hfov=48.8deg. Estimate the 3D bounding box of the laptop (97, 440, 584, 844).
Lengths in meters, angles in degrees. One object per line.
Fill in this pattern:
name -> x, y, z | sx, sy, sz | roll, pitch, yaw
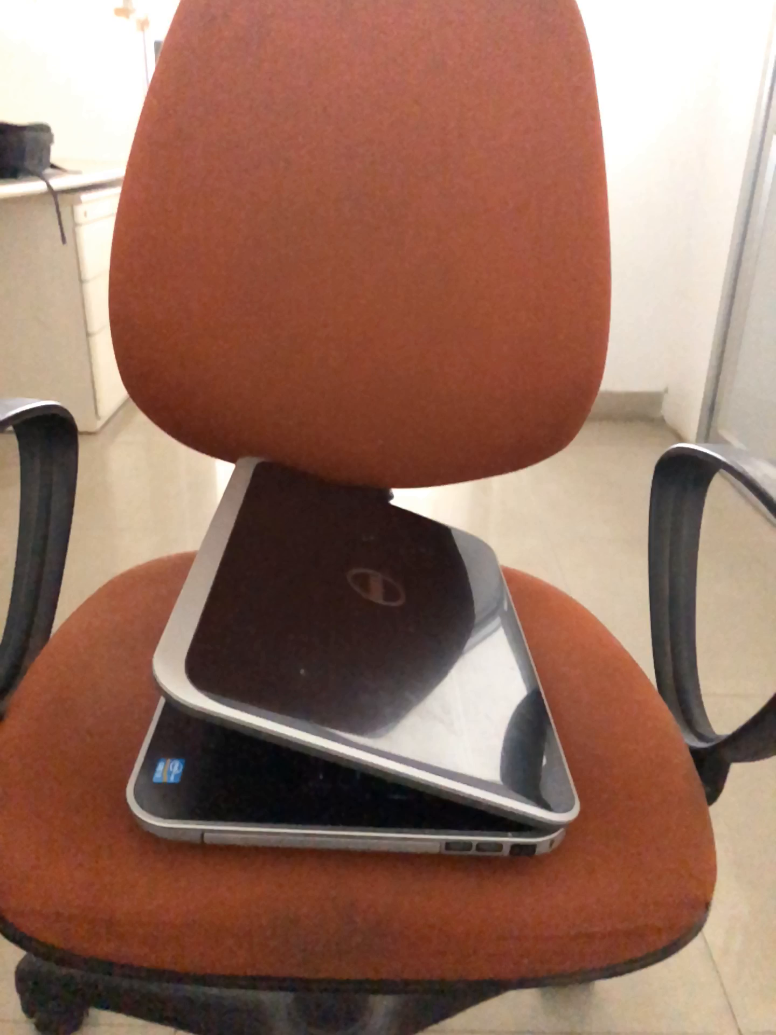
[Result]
laptop -> -0.026, 0.053, 0.598 | 0.233, 0.091, 0.368 | 4, 22, -3
